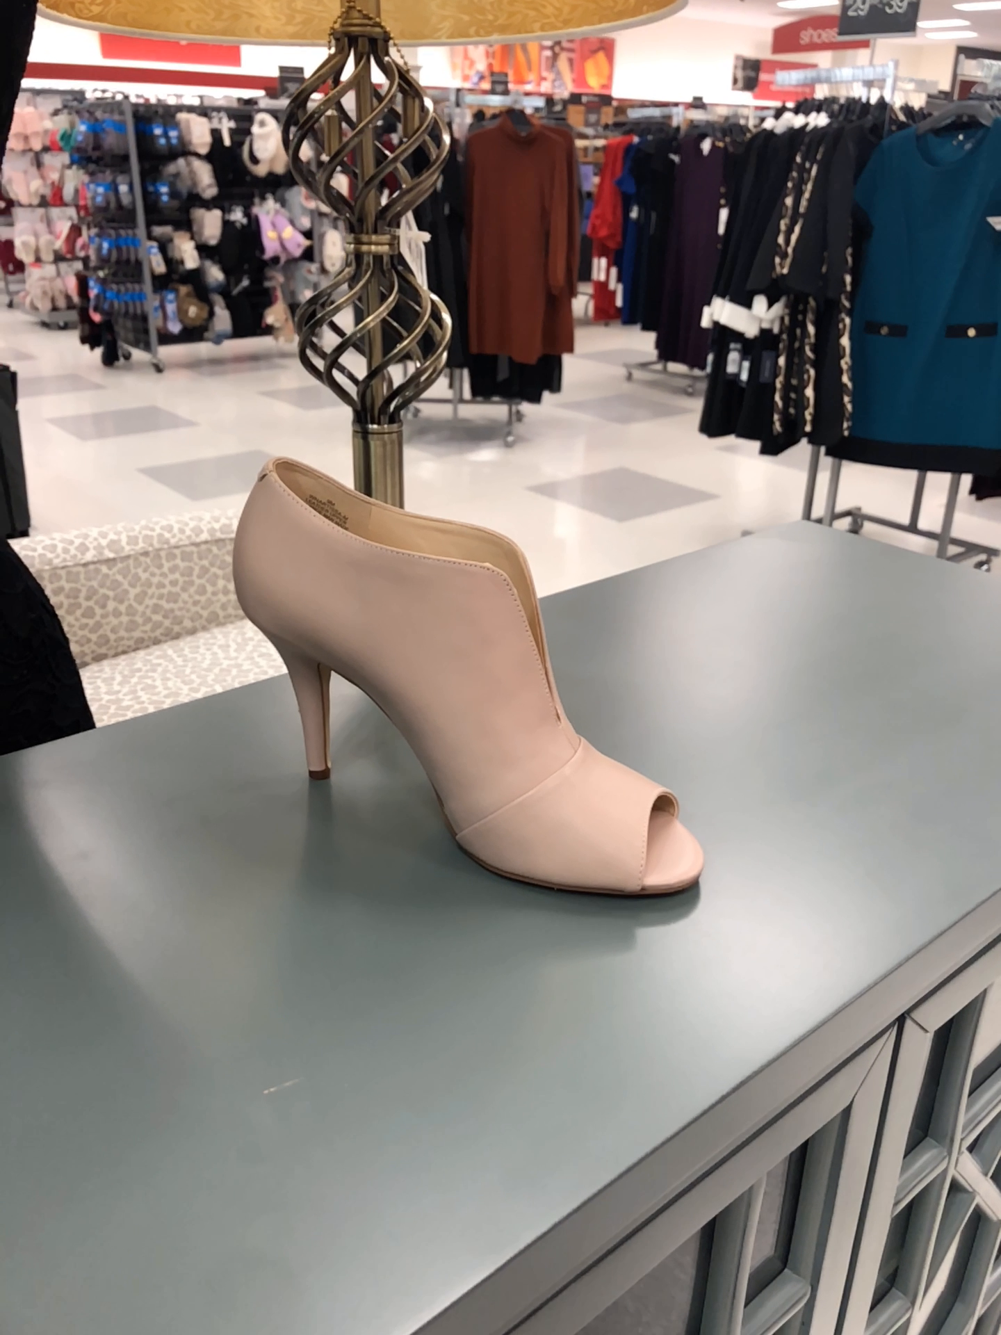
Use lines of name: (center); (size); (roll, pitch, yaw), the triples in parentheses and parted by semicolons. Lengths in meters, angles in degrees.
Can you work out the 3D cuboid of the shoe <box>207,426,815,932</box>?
shoe: (0.003, -0.007, 0.474); (0.224, 0.151, 0.098); (11, 26, 22)
